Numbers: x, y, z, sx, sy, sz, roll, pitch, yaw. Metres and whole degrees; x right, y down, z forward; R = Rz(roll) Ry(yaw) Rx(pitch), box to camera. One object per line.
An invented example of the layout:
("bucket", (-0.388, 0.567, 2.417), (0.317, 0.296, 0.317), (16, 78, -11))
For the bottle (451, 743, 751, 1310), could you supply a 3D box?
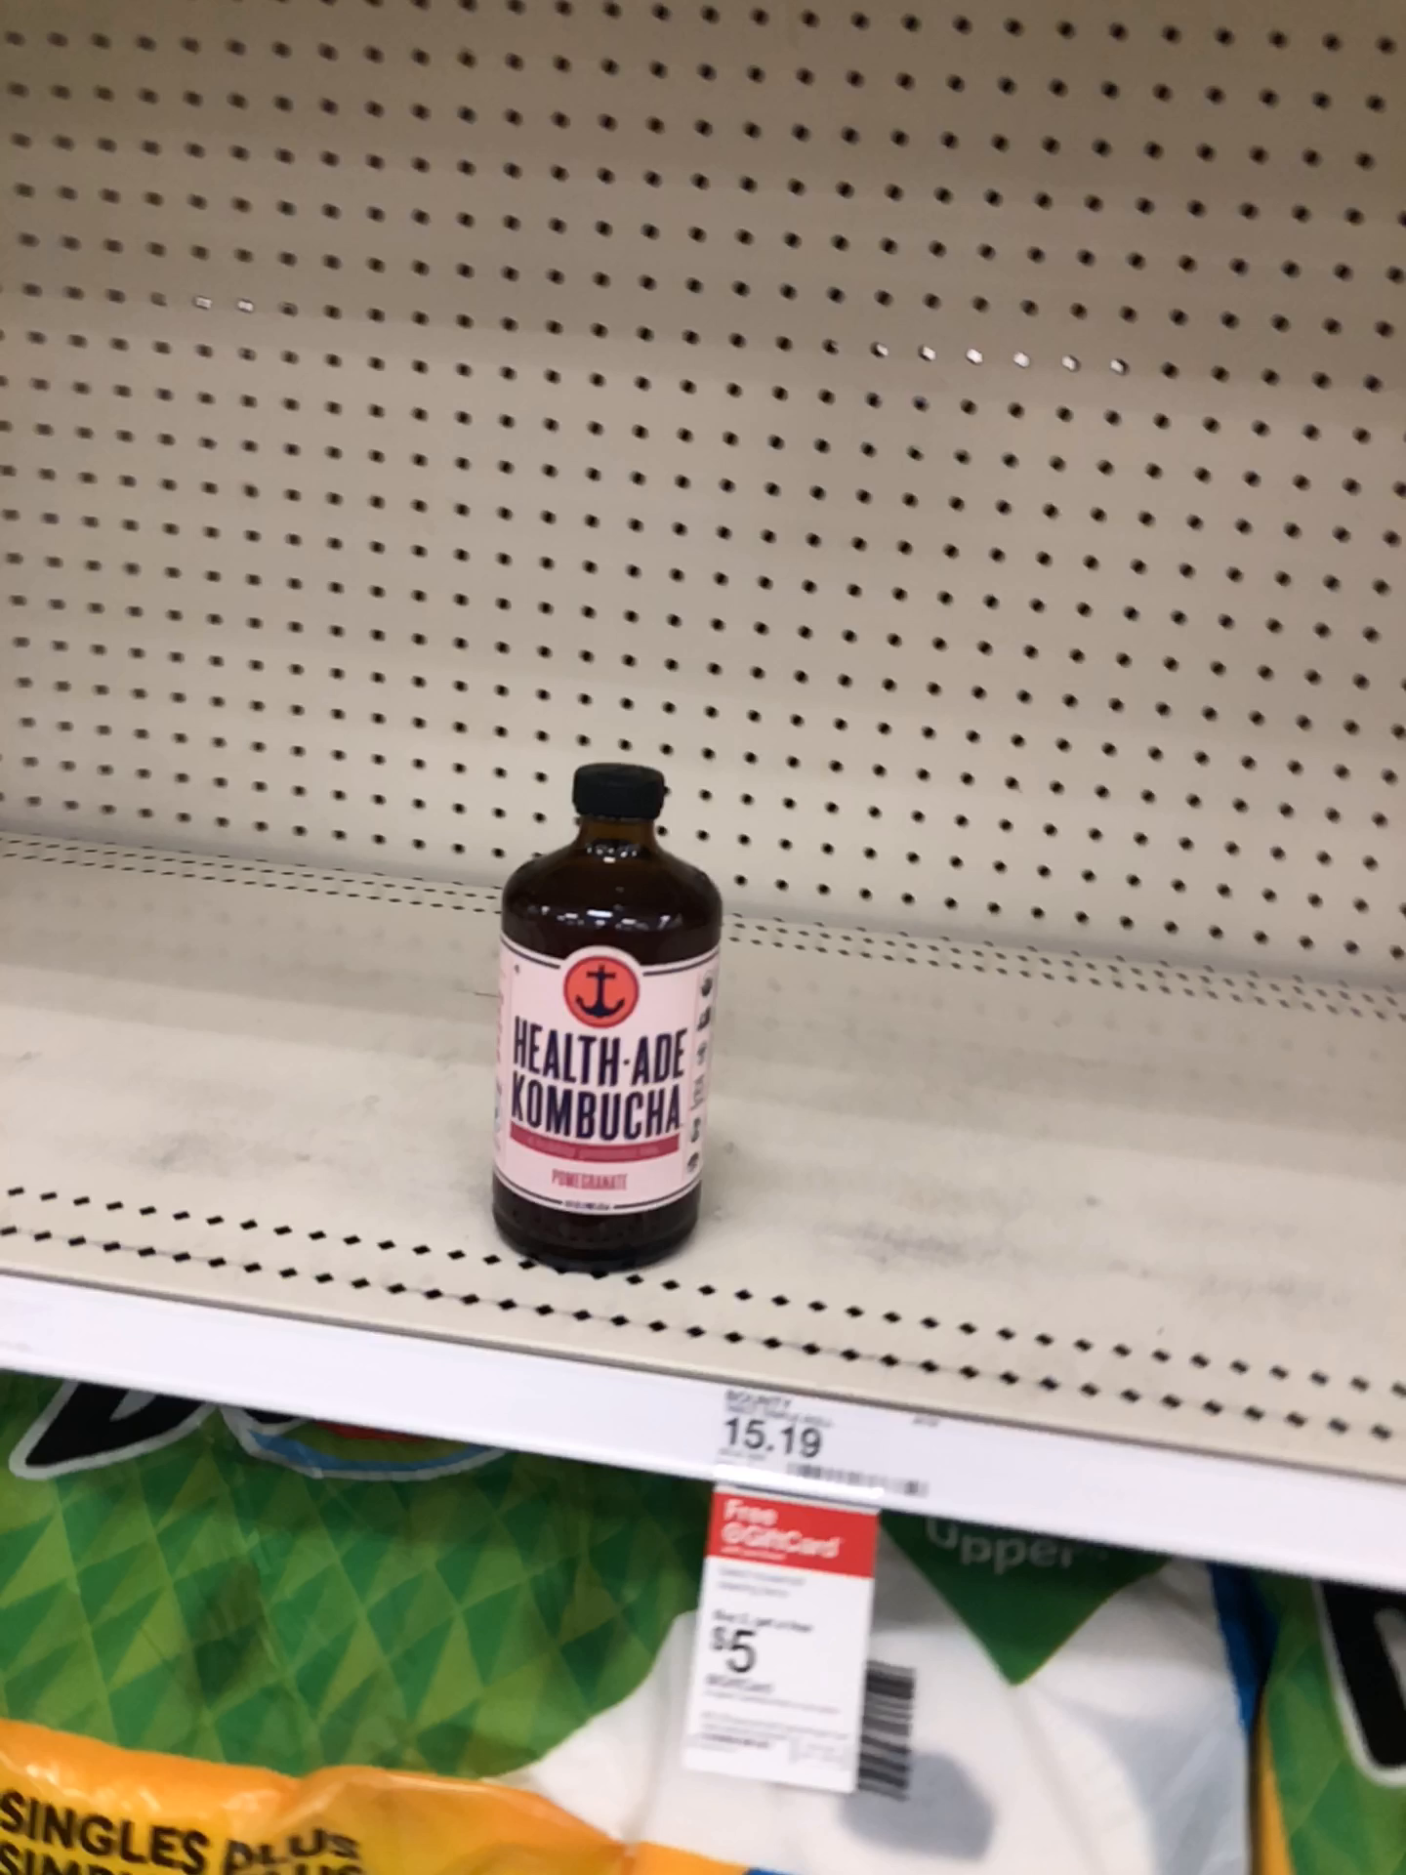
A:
("bottle", (-0.035, 0.028, 0.540), (0.086, 0.169, 0.090), (3, 20, -1))
